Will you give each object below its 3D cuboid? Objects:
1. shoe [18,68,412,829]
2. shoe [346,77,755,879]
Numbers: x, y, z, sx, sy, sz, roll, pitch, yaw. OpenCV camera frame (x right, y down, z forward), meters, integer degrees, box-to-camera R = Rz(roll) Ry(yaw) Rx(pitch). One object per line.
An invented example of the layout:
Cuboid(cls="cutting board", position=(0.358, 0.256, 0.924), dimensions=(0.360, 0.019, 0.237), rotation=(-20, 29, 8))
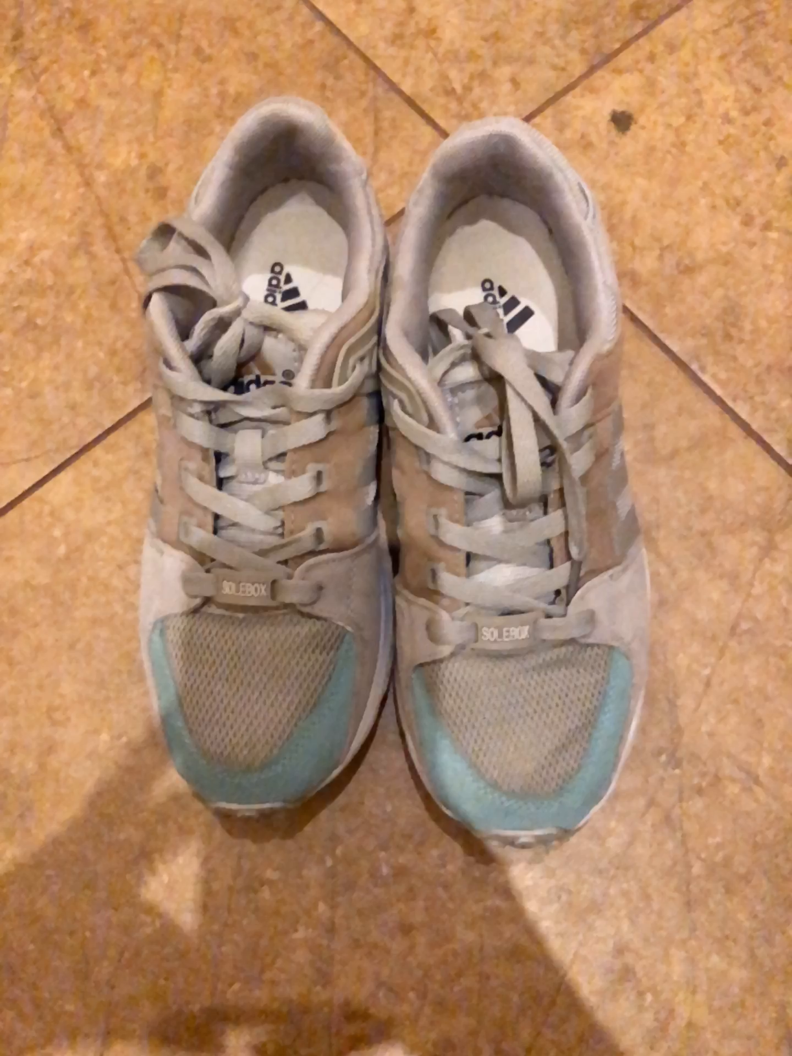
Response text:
Cuboid(cls="shoe", position=(-0.051, -0.030, 0.324), dimensions=(0.110, 0.080, 0.260), rotation=(0, 75, 2))
Cuboid(cls="shoe", position=(0.042, -0.020, 0.315), dimensions=(0.108, 0.080, 0.260), rotation=(-2, 75, 2))
